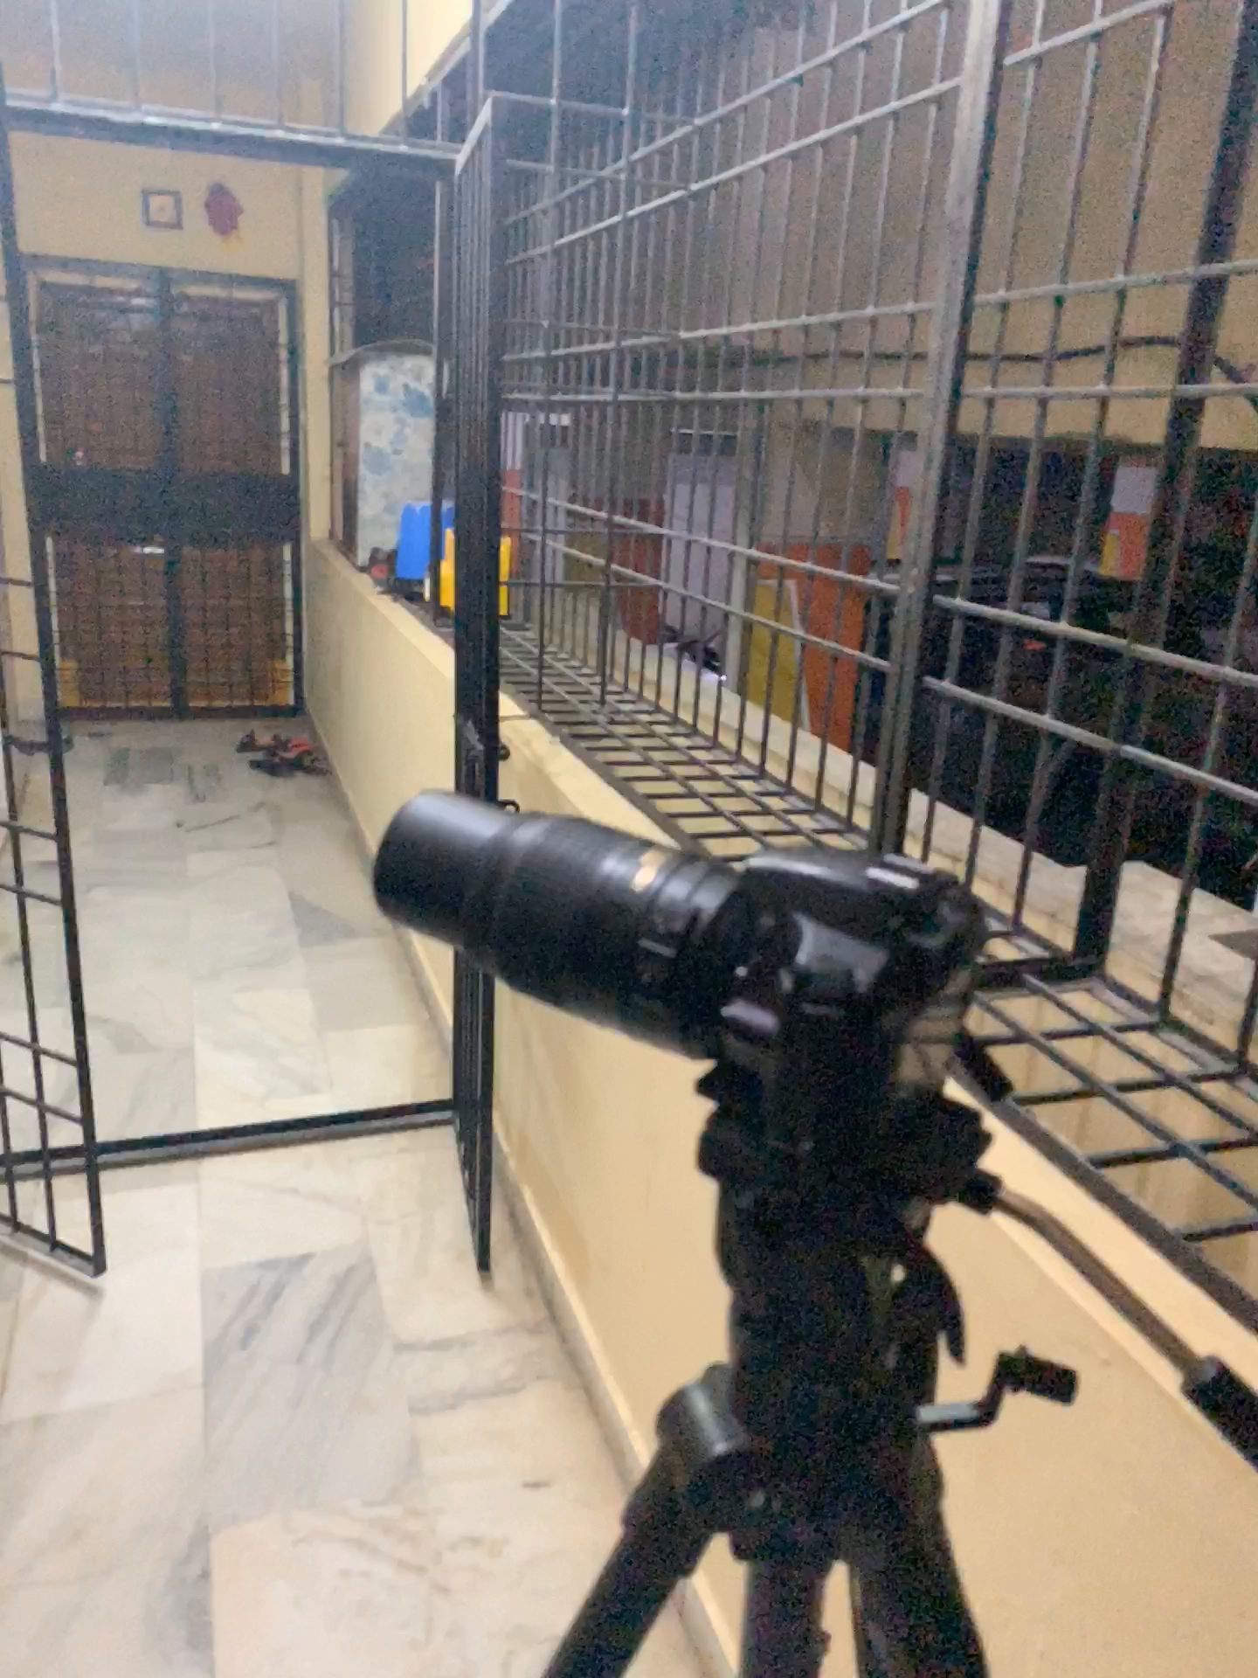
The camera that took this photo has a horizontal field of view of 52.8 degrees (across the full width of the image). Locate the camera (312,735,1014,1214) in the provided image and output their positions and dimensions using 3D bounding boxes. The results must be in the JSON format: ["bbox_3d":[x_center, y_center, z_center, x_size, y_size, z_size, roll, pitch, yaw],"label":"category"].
[{"bbox_3d":[0.008,0.034,0.480,0.230,0.090,0.120,14,21,30],"label":"camera"}]
